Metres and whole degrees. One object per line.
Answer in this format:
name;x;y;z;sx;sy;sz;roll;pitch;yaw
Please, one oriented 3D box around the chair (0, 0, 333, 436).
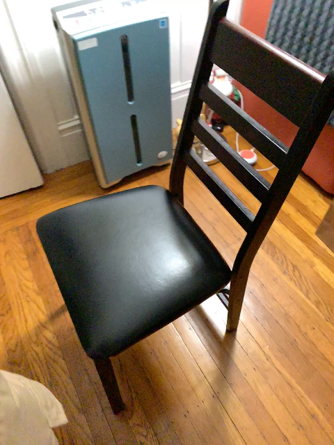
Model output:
chair;-0.062;0.017;0.797;0.550;0.866;0.492;-26;54;-18
